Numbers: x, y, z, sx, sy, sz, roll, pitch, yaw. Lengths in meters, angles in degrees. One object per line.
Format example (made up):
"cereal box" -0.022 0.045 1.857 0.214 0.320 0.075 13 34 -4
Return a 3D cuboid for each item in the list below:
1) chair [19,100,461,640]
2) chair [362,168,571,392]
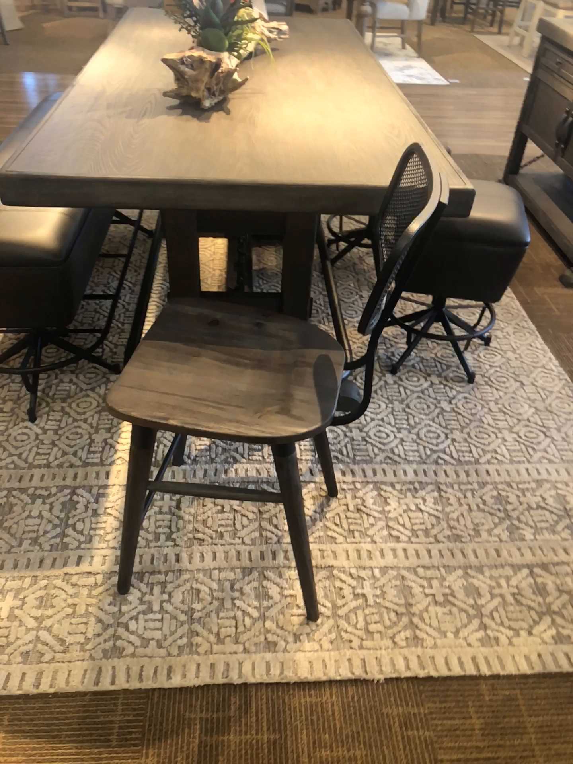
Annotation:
"chair" -0.052 -0.001 1.328 0.604 0.947 0.509 8 38 6
"chair" 0.560 -0.375 2.195 0.519 0.488 0.638 5 38 2
